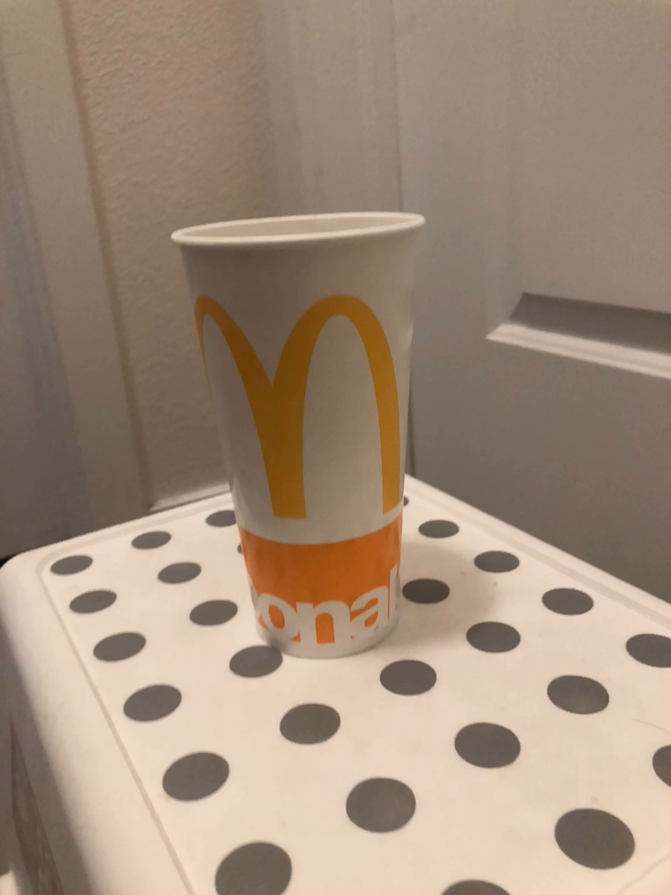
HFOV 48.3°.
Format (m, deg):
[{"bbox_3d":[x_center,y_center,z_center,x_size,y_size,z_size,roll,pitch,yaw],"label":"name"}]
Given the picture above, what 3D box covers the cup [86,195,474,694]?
[{"bbox_3d":[-0.008,-0.009,0.289,0.100,0.155,0.099,-5,20,2],"label":"cup"}]
